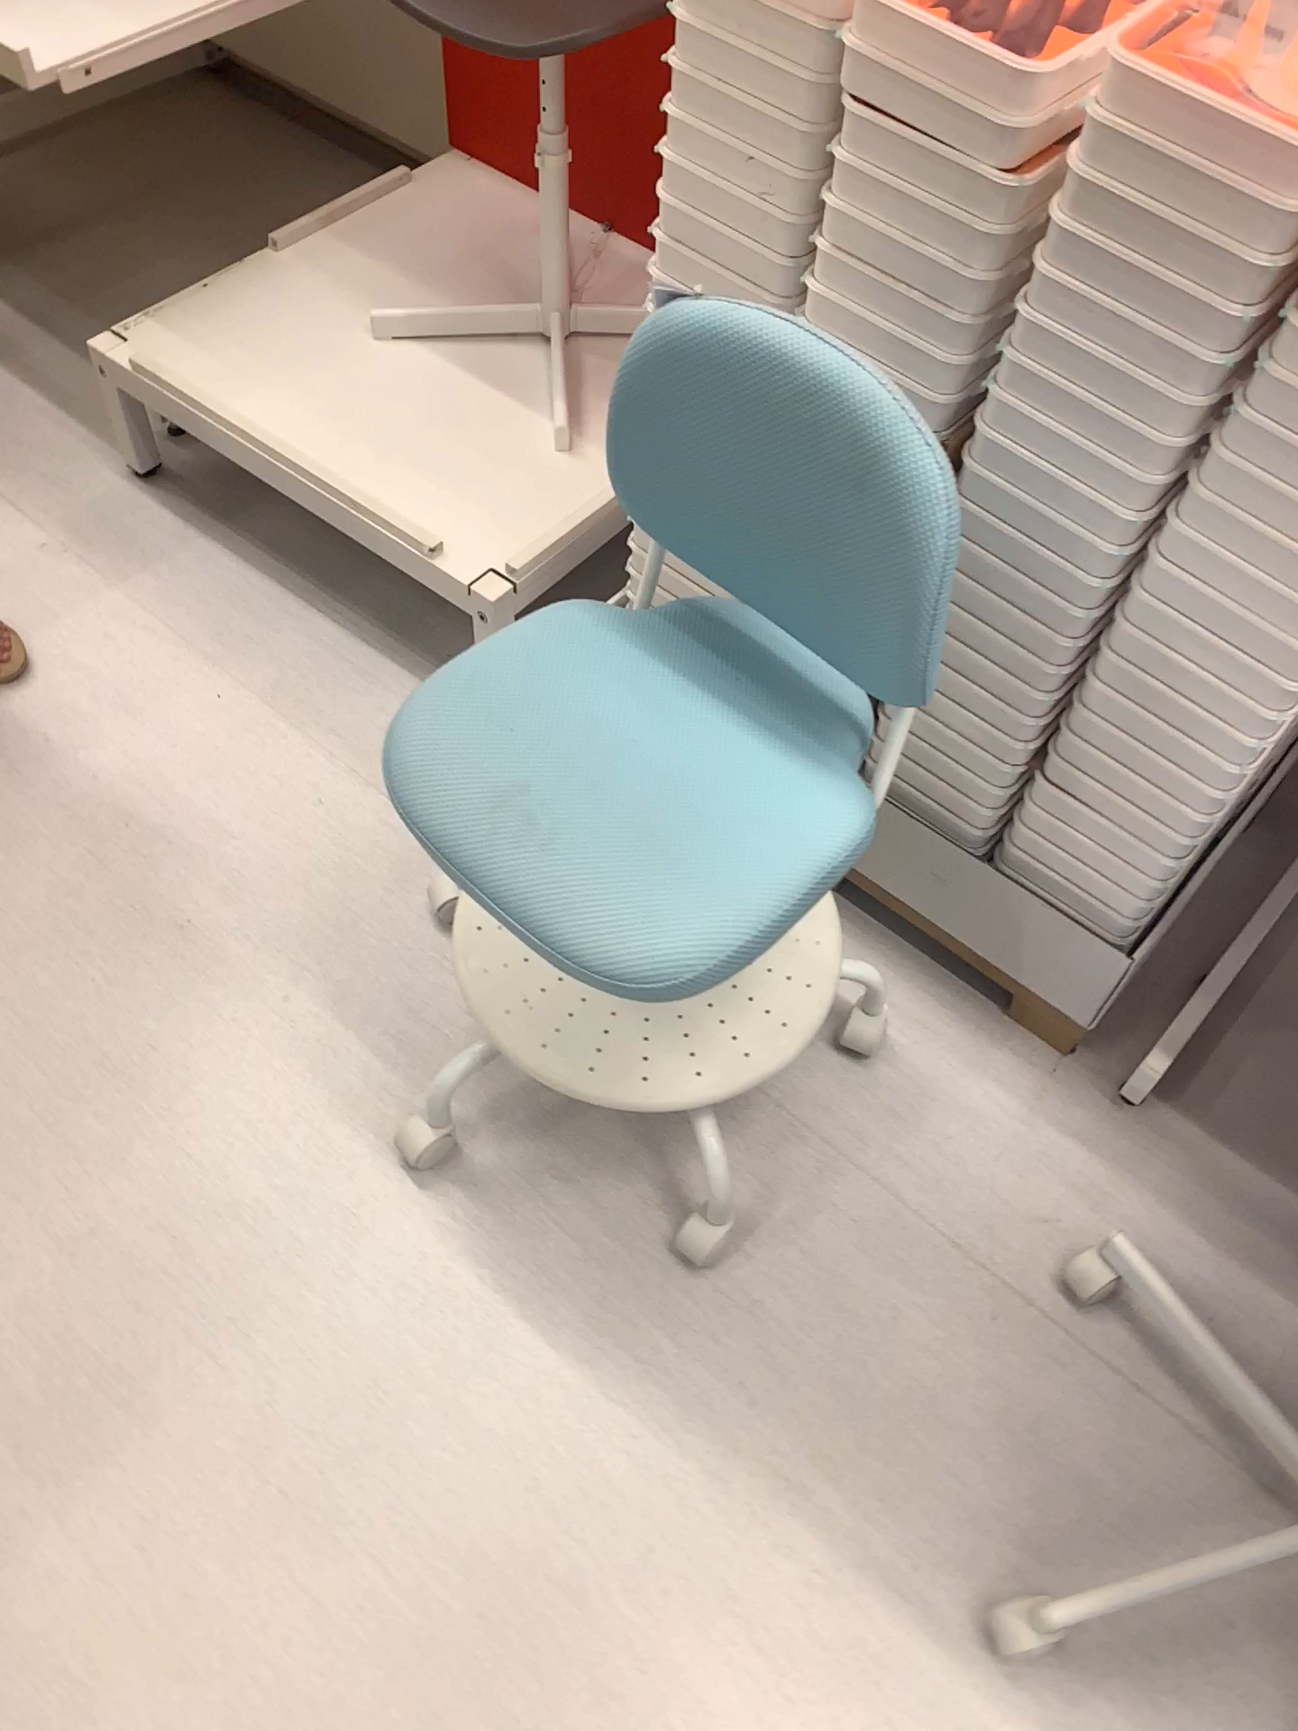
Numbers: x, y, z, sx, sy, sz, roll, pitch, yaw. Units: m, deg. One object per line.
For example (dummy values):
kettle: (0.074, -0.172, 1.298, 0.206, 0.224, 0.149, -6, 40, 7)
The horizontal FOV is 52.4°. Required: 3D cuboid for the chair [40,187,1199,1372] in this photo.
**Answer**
chair: (-0.021, -0.053, 1.249, 0.571, 0.748, 0.611, 36, 60, 20)
